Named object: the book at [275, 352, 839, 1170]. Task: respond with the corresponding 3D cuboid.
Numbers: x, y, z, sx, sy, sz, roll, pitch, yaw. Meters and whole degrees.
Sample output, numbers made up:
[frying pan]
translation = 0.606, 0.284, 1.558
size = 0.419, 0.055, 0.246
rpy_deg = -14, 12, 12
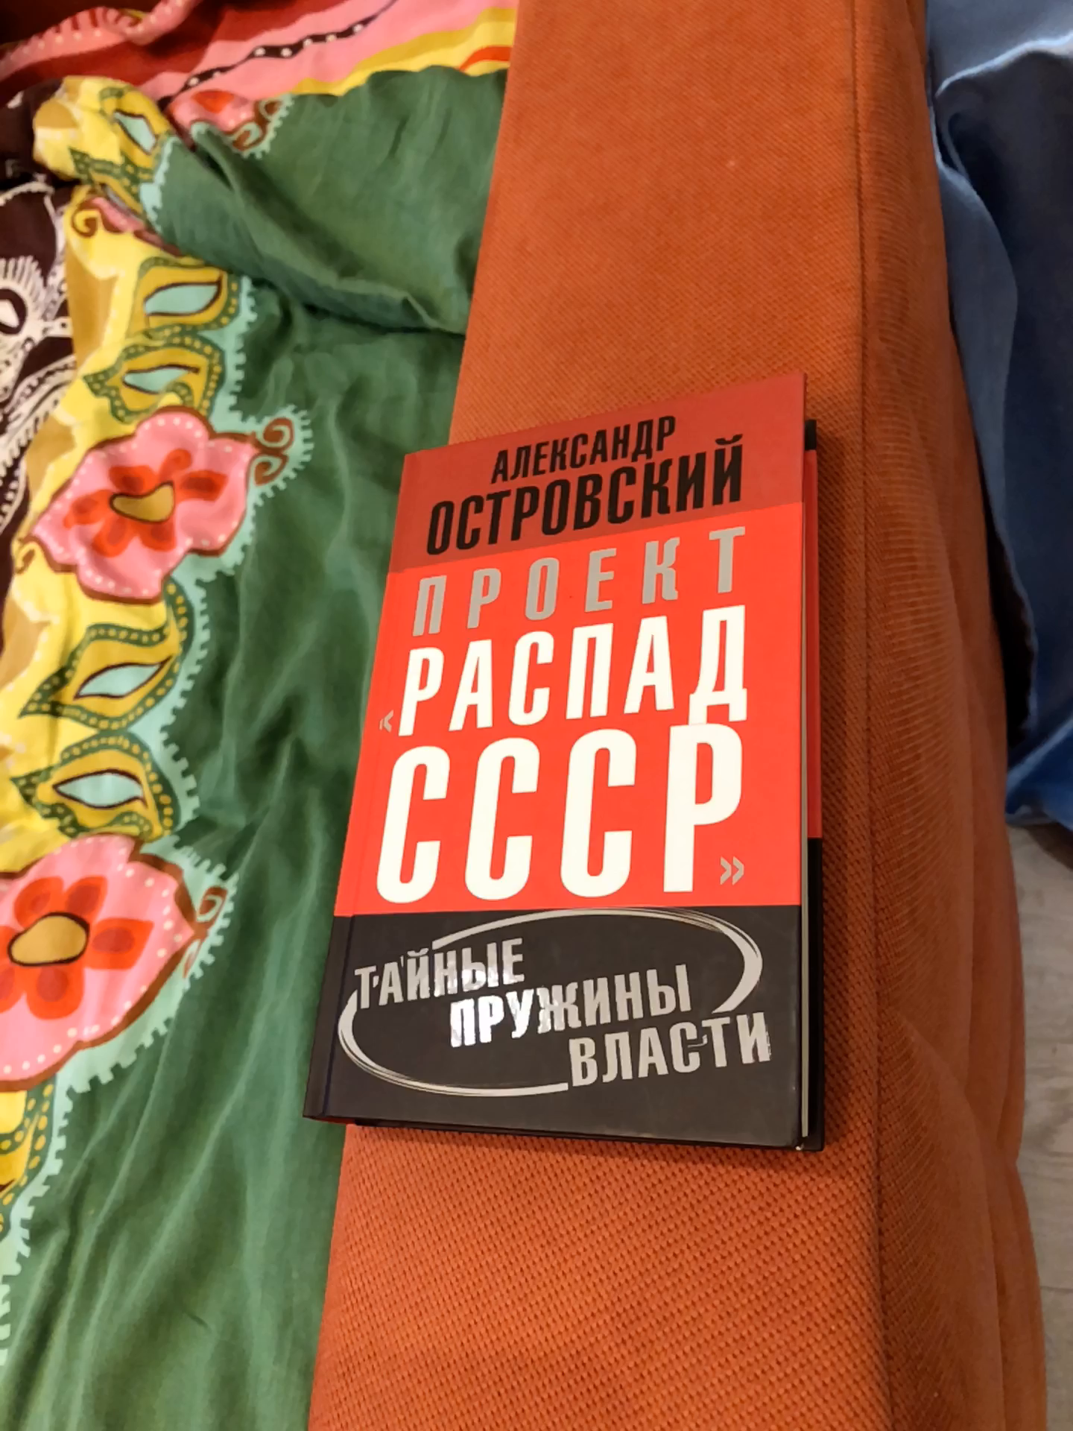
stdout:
[book]
translation = 0.010, 0.008, 0.324
size = 0.135, 0.030, 0.207
rpy_deg = -6, 65, 25
